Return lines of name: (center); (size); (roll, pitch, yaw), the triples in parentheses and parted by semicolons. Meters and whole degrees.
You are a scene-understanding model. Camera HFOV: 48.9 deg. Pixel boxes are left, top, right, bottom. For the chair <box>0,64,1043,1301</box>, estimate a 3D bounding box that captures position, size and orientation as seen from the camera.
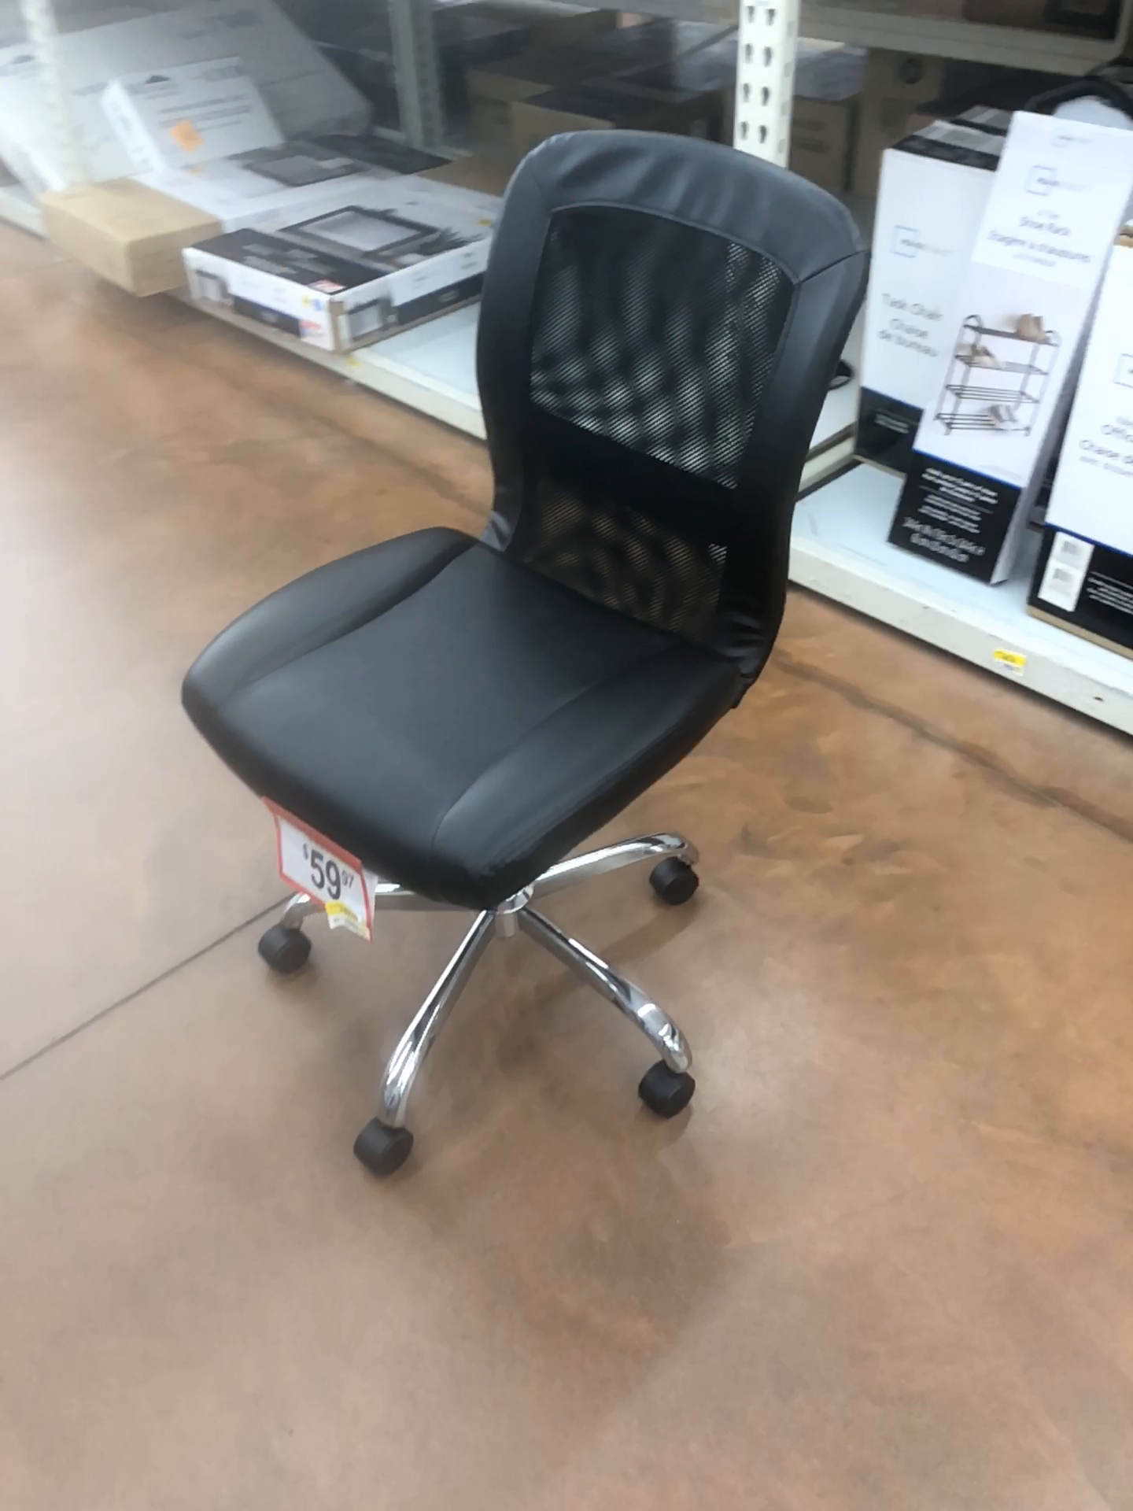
chair: (-0.092, -0.125, 1.228); (0.681, 0.817, 0.651); (31, 50, 34)
